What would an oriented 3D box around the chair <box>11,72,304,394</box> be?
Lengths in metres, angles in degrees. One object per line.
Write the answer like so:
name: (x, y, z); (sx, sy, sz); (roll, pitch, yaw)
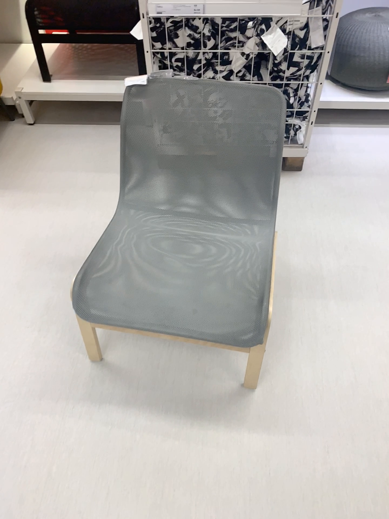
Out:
chair: (-0.025, -0.091, 1.351); (0.630, 0.698, 0.752); (8, 52, 8)
